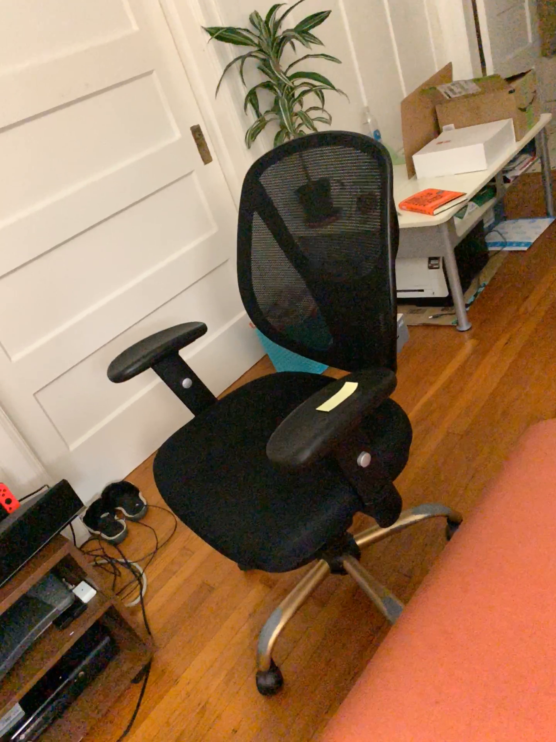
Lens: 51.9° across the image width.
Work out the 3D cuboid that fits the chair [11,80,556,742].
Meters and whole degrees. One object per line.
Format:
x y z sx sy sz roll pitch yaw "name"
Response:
0.064 0.057 1.189 0.660 0.974 0.644 -31 29 -26 "chair"
